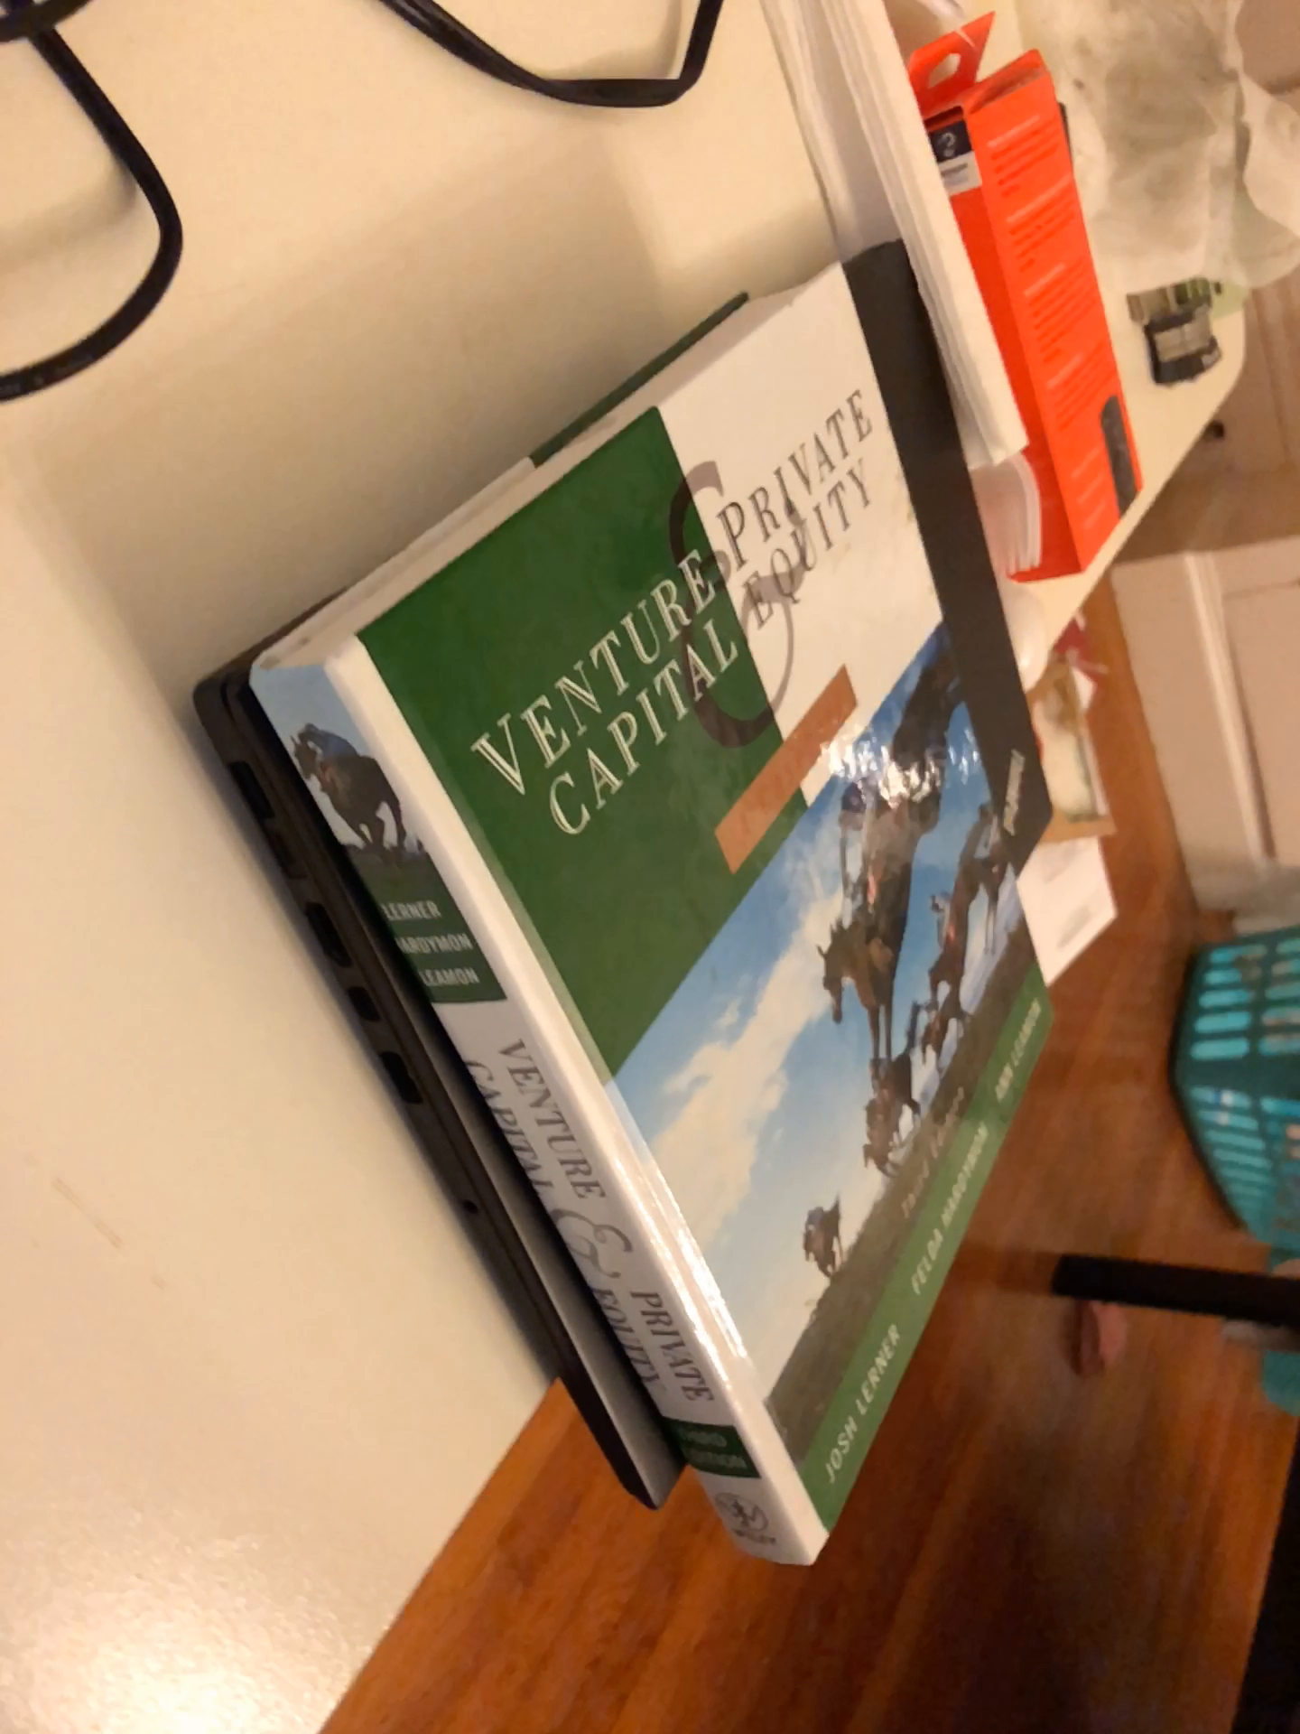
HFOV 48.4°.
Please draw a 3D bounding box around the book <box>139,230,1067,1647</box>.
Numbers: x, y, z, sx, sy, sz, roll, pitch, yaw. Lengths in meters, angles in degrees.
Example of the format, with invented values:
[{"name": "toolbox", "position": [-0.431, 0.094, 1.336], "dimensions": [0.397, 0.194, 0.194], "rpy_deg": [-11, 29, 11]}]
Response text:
[{"name": "book", "position": [0.029, 0.011, 0.364], "dimensions": [0.221, 0.030, 0.270], "rpy_deg": [-51, 127, -43]}]
